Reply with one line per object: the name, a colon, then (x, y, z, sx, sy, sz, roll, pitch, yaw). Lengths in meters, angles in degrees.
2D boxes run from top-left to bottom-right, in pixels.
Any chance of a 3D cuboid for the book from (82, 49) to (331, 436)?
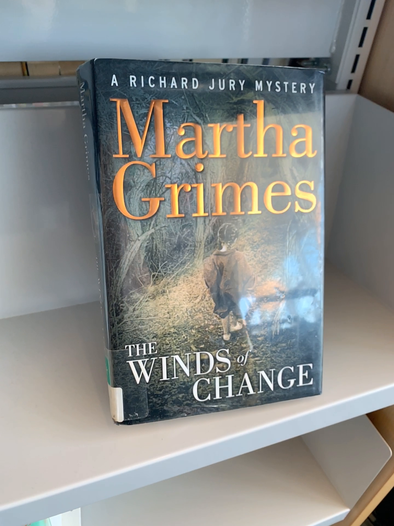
book: (0.011, -0.014, 0.299, 0.160, 0.244, 0.050, -5, 9, -12)
